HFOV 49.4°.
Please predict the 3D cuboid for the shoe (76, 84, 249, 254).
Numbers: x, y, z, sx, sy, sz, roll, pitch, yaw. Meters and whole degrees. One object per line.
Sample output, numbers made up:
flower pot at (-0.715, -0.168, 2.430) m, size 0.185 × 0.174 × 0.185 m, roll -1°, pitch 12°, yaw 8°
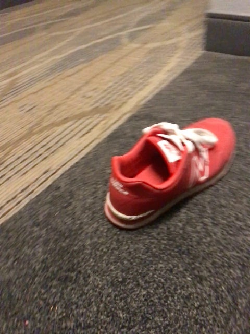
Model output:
shoe at (0.073, -0.013, 0.403) m, size 0.258 × 0.107 × 0.100 m, roll -33°, pitch 47°, yaw -26°
